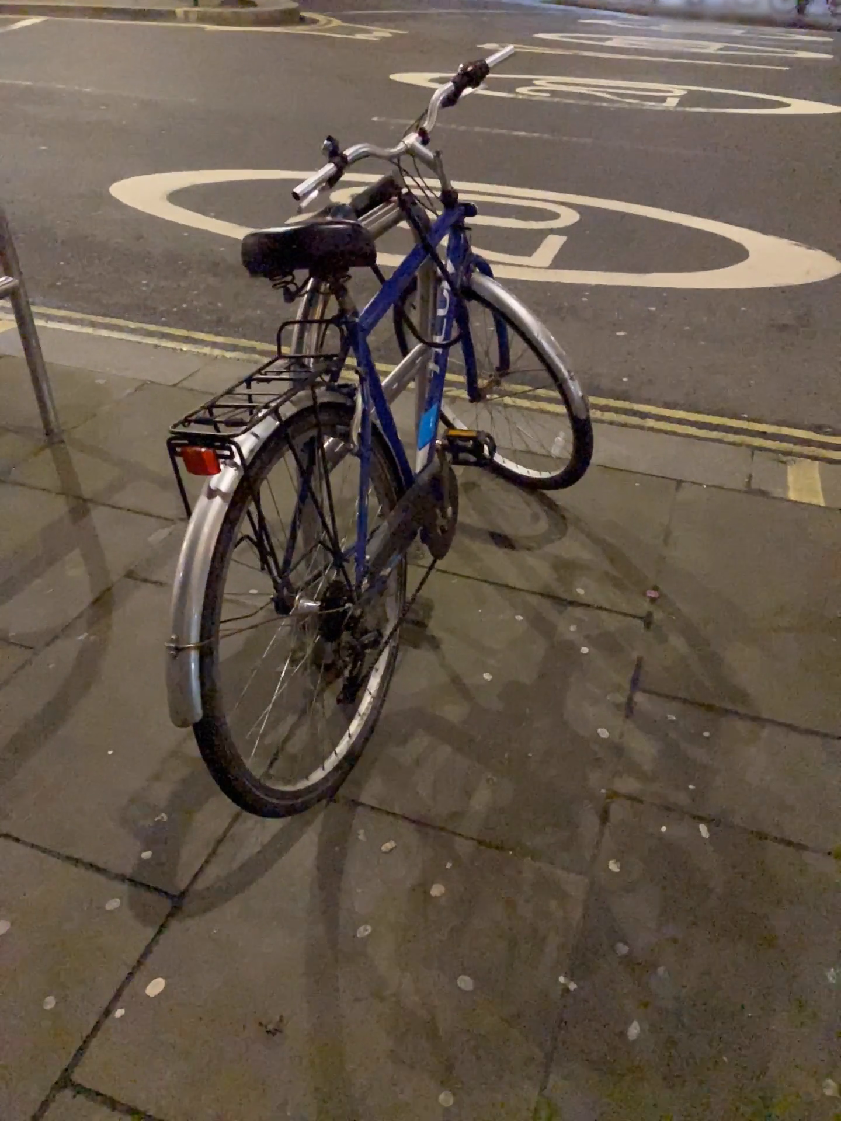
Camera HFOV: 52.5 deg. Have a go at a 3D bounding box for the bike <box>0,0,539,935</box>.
[{"bbox_3d":[-0.191,-0.401,1.725,0.655,1.108,1.604,7,39,8],"label":"bike"}]
